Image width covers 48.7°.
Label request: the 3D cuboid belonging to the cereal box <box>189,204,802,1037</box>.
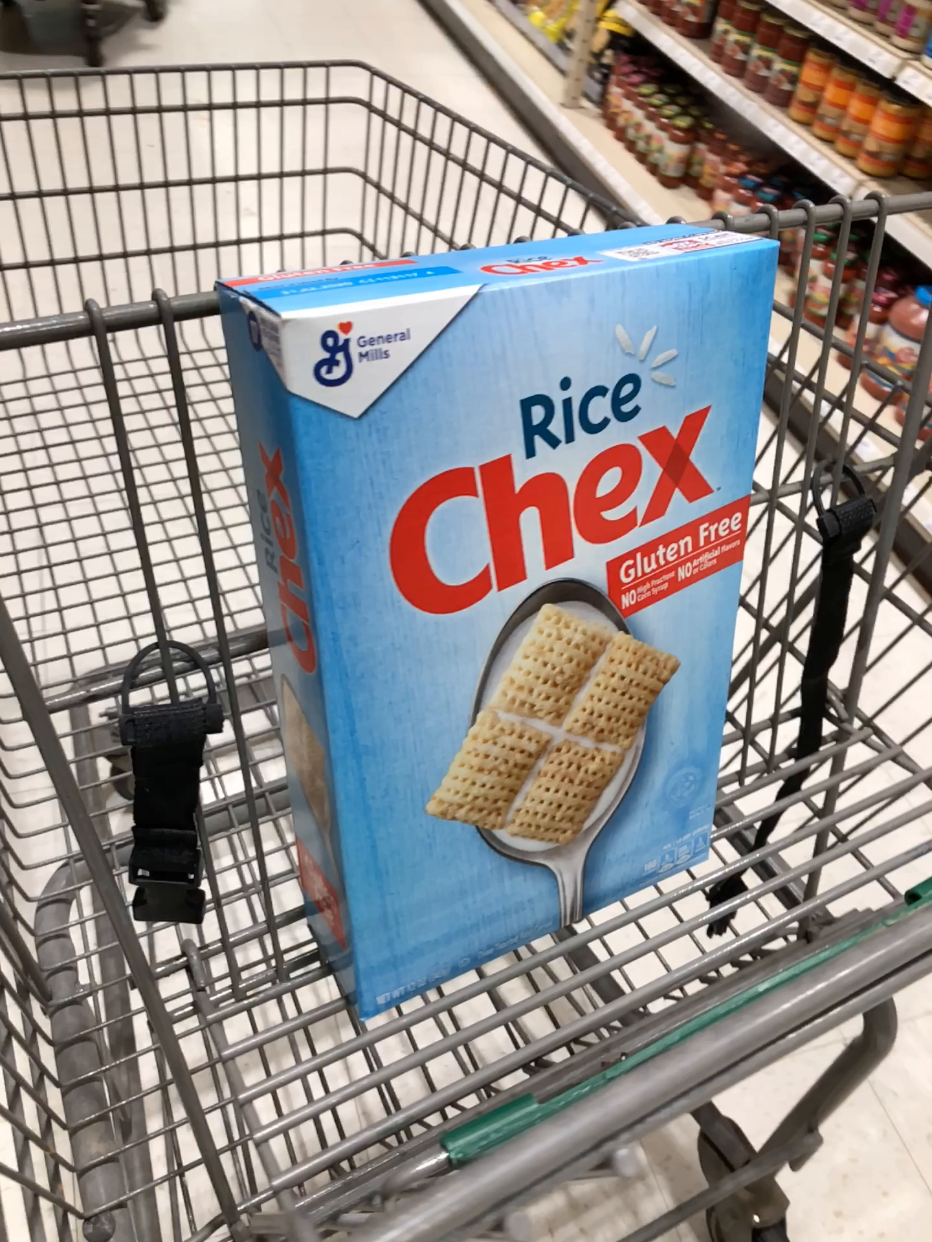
[{"bbox_3d":[0.020,0.002,0.409,0.200,0.290,0.060,-17,33,-25],"label":"cereal box"}]
